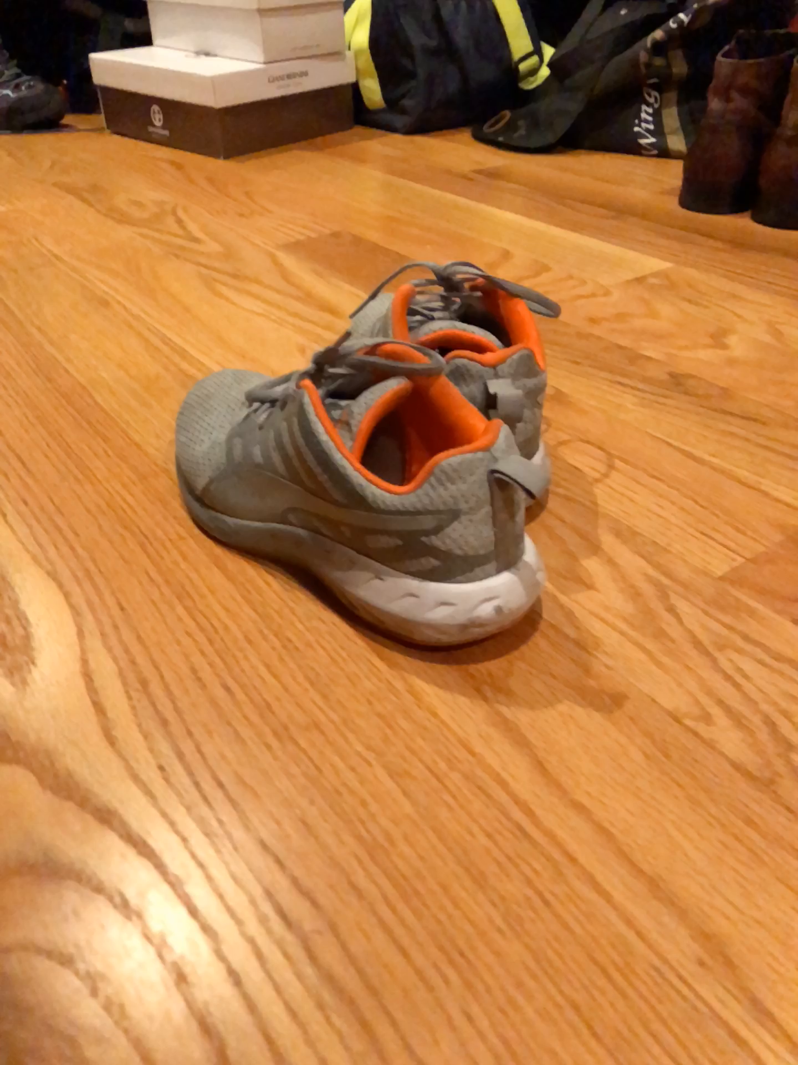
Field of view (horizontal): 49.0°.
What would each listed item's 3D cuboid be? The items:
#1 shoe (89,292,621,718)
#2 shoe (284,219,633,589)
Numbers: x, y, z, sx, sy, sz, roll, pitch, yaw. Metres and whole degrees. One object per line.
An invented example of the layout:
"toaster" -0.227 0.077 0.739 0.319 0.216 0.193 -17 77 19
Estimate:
"shoe" -0.033 -0.034 0.426 0.110 0.079 0.251 -29 43 -33
"shoe" 0.017 -0.091 0.503 0.100 0.099 0.252 -13 36 -15
